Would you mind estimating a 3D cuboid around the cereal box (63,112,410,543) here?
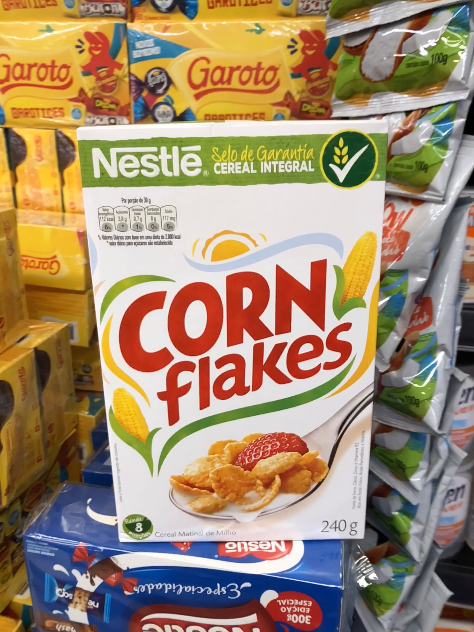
[{"bbox_3d":[0.000,0.011,0.322,0.170,0.249,0.060,0,16,-1],"label":"cereal box"}]
